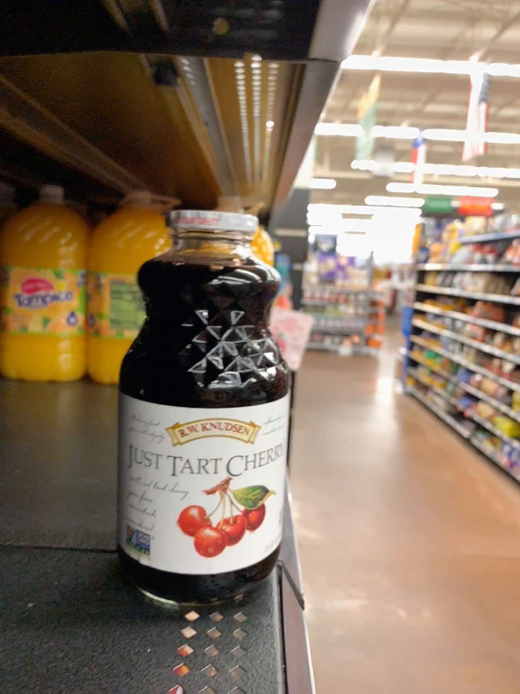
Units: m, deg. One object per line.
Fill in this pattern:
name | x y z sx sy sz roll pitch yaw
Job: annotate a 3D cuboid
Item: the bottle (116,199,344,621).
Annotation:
bottle | -0.028 0.027 0.316 0.100 0.200 0.110 2 8 -14
